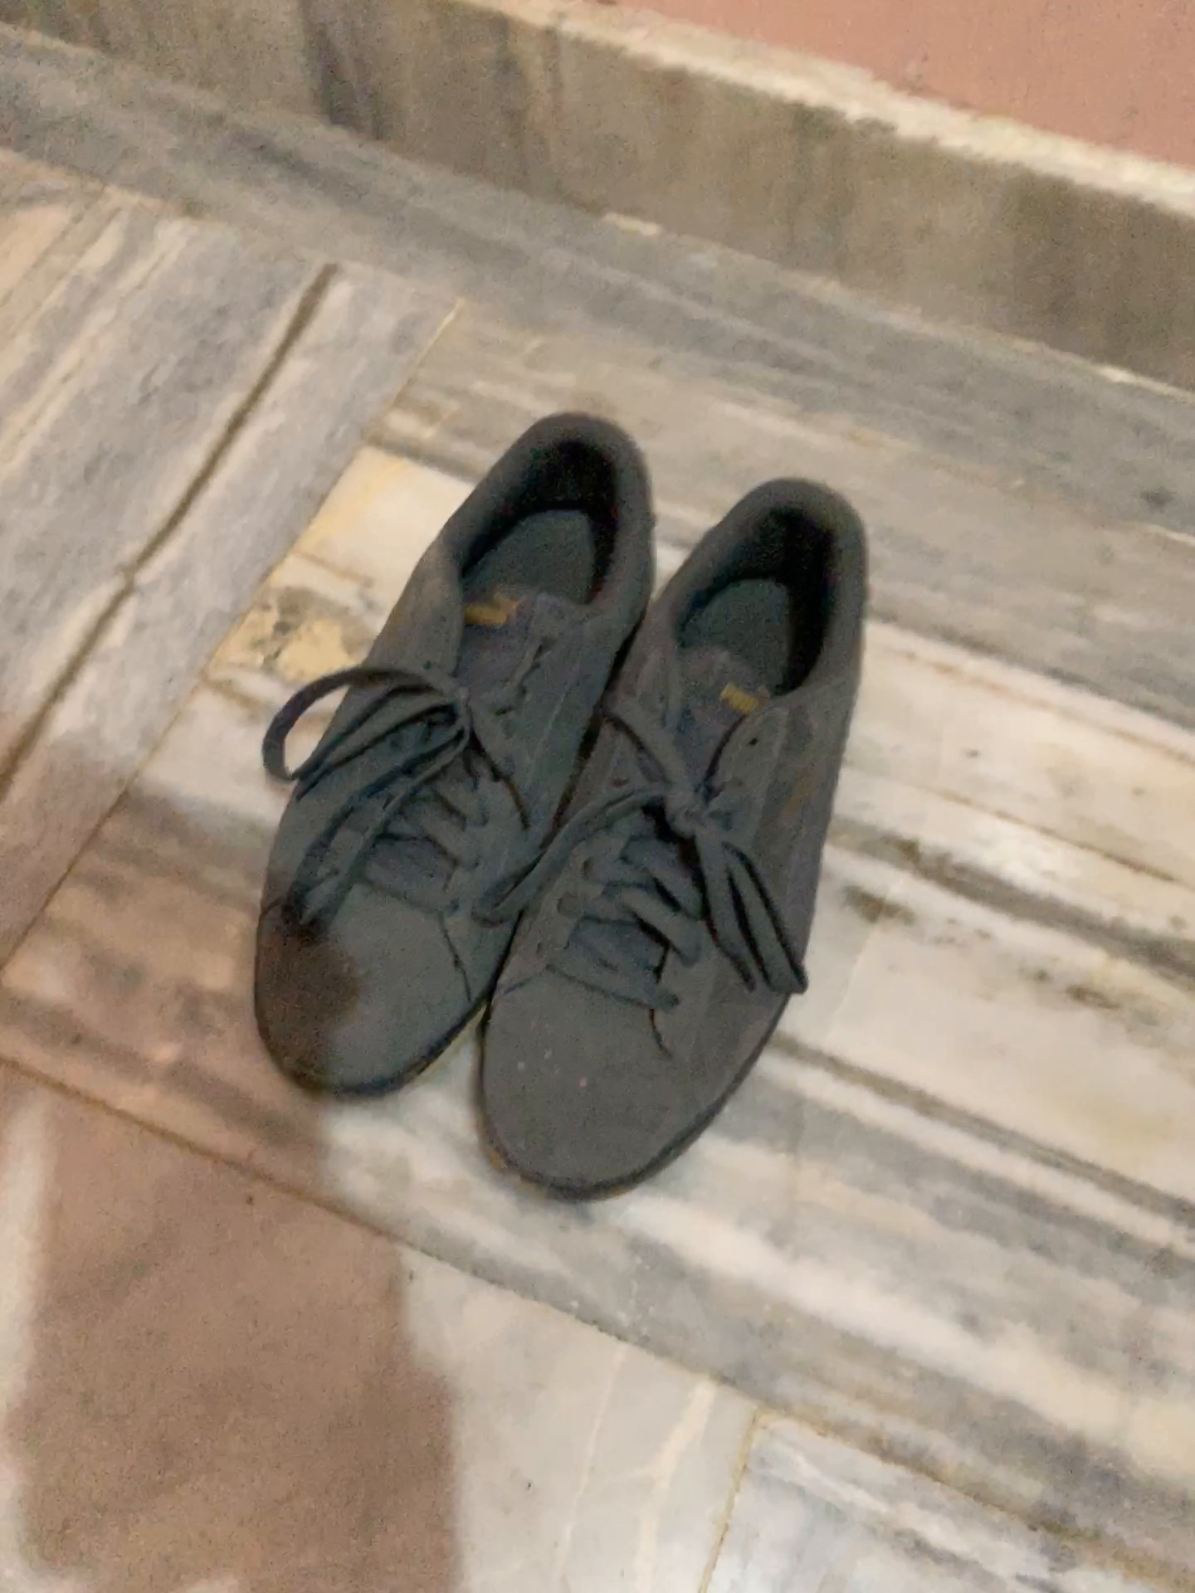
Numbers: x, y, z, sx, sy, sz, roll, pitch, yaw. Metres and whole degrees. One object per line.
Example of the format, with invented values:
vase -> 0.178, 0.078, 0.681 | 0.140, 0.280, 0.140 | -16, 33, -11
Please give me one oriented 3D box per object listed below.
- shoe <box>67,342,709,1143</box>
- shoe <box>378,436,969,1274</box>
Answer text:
shoe -> -0.064, -0.030, 0.490 | 0.110, 0.100, 0.290 | 21, 64, 8
shoe -> 0.038, 0.014, 0.476 | 0.110, 0.100, 0.290 | 21, 64, 8
